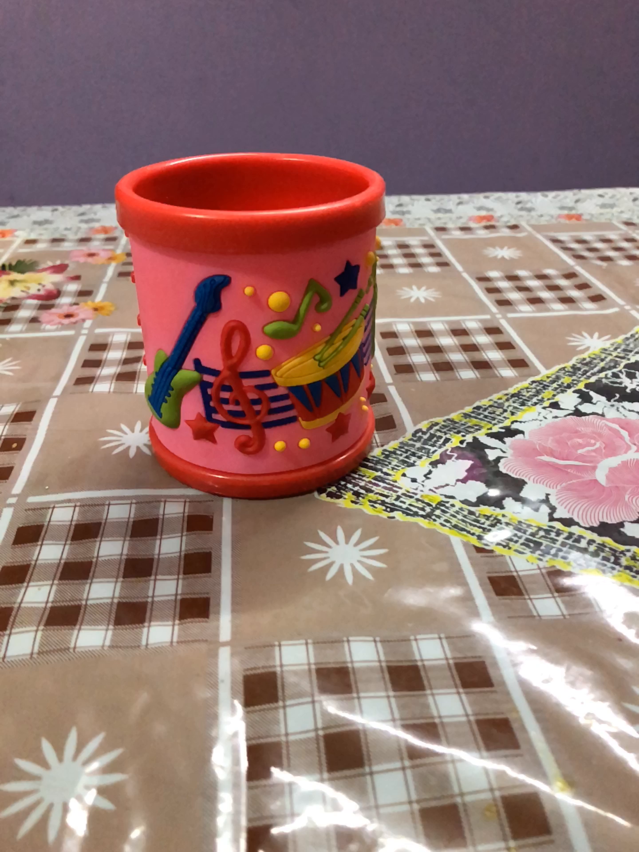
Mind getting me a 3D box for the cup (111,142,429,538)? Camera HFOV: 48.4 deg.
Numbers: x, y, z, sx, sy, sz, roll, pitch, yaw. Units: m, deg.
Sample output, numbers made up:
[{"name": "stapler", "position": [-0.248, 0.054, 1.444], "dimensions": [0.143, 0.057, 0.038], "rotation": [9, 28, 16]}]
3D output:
[{"name": "cup", "position": [-0.021, -0.033, 0.237], "dimensions": [0.080, 0.099, 0.080], "rotation": [0, 31, 0]}]
